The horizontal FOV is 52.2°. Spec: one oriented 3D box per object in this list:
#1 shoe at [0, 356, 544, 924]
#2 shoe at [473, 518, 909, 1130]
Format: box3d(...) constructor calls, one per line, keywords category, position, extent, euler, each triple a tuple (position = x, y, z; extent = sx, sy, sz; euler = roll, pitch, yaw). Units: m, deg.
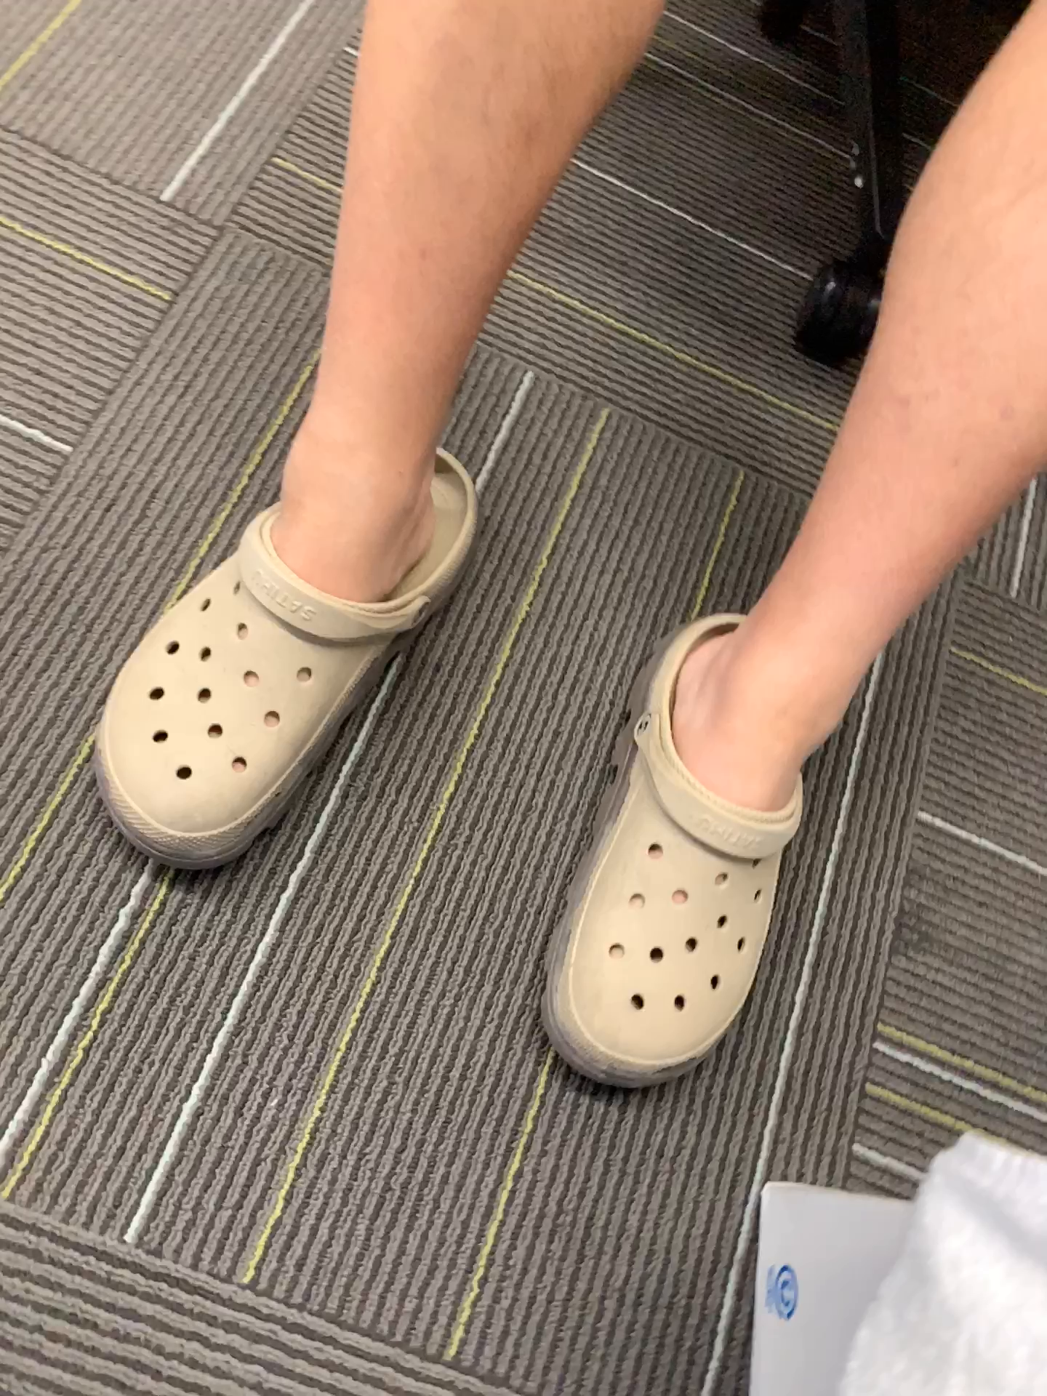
box3d(category="shoe", position=(-0.136, -0.043, 0.635), extent=(0.134, 0.080, 0.321), euler=(35, 65, 1))
box3d(category="shoe", position=(0.109, 0.067, 0.645), extent=(0.140, 0.080, 0.330), euler=(28, 65, -3))
